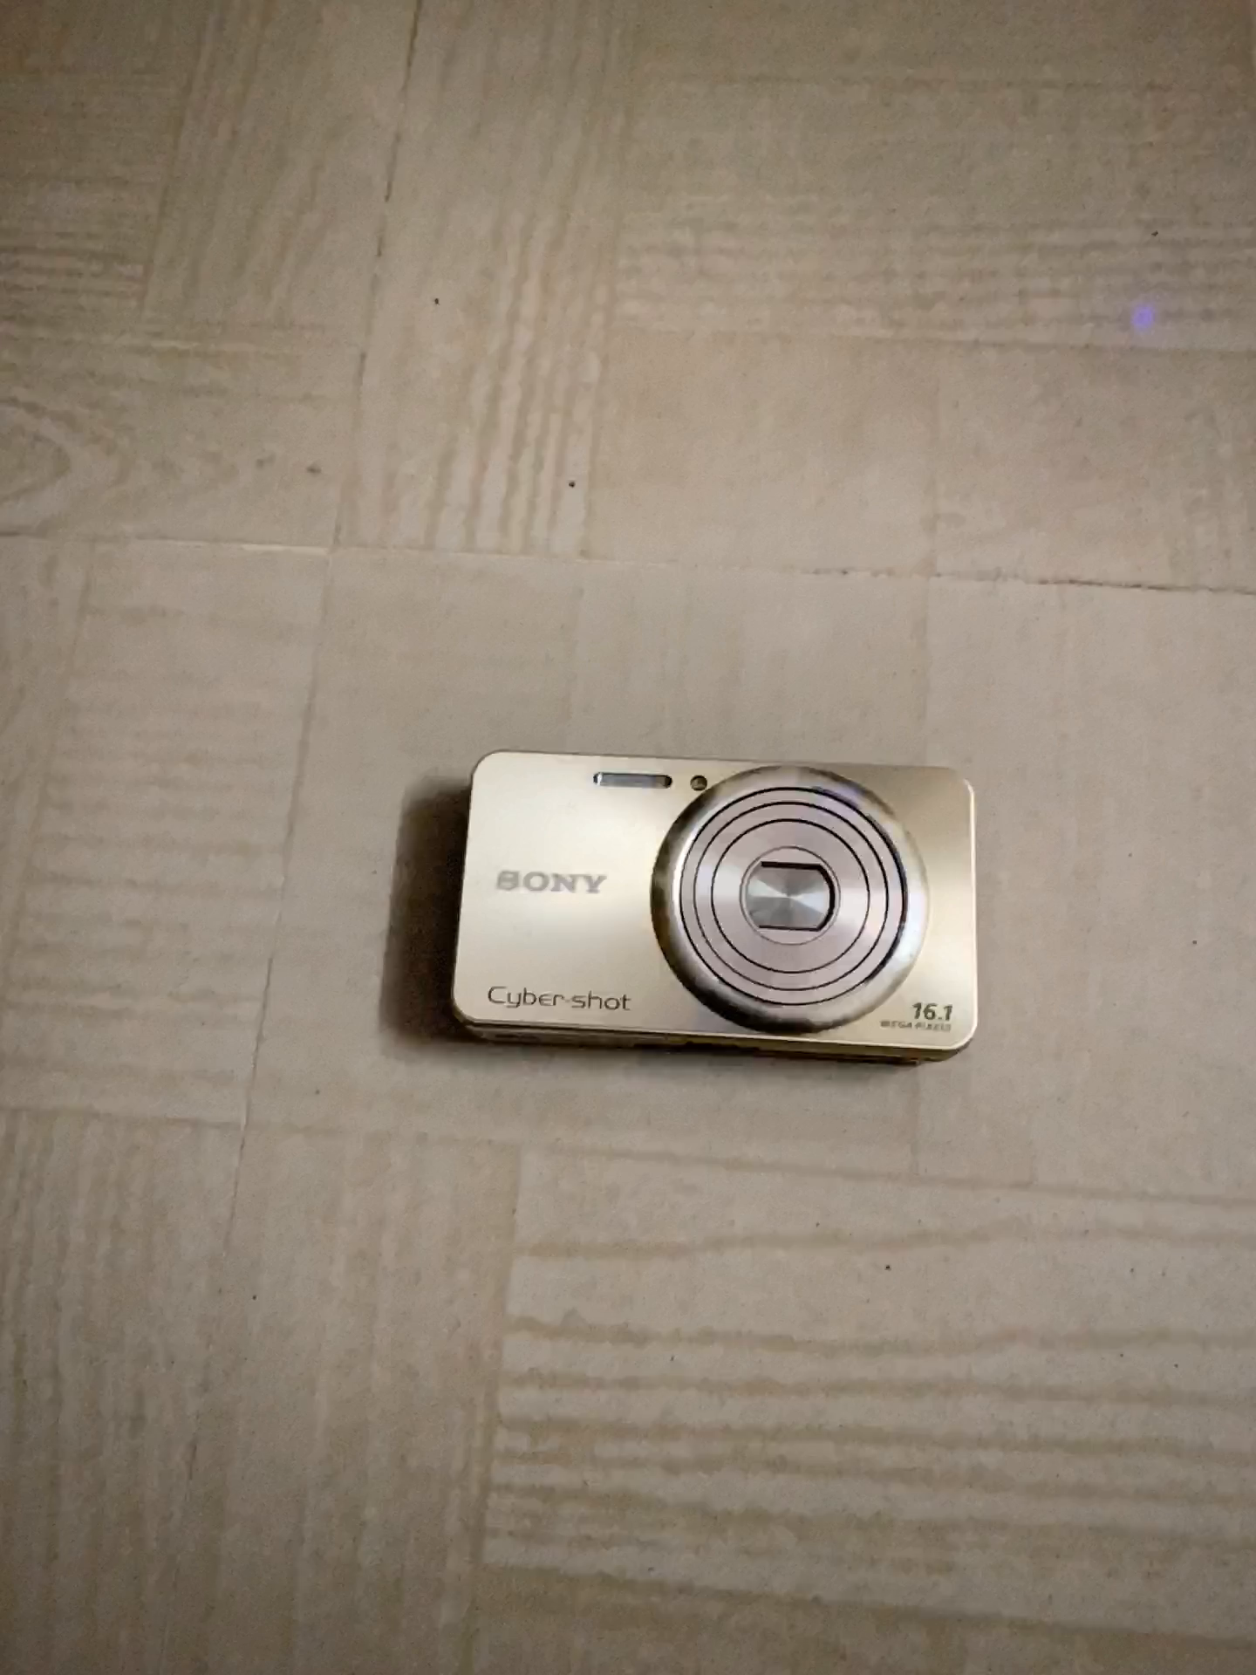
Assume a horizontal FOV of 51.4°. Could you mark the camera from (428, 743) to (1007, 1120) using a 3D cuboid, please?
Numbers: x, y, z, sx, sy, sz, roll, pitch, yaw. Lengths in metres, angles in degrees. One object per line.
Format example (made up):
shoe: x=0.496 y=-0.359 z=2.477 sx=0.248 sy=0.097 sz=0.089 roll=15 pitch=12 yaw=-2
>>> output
camera: x=0.017 y=0.017 z=0.239 sx=0.097 sy=0.019 sz=0.057 roll=5 pitch=75 yaw=4
